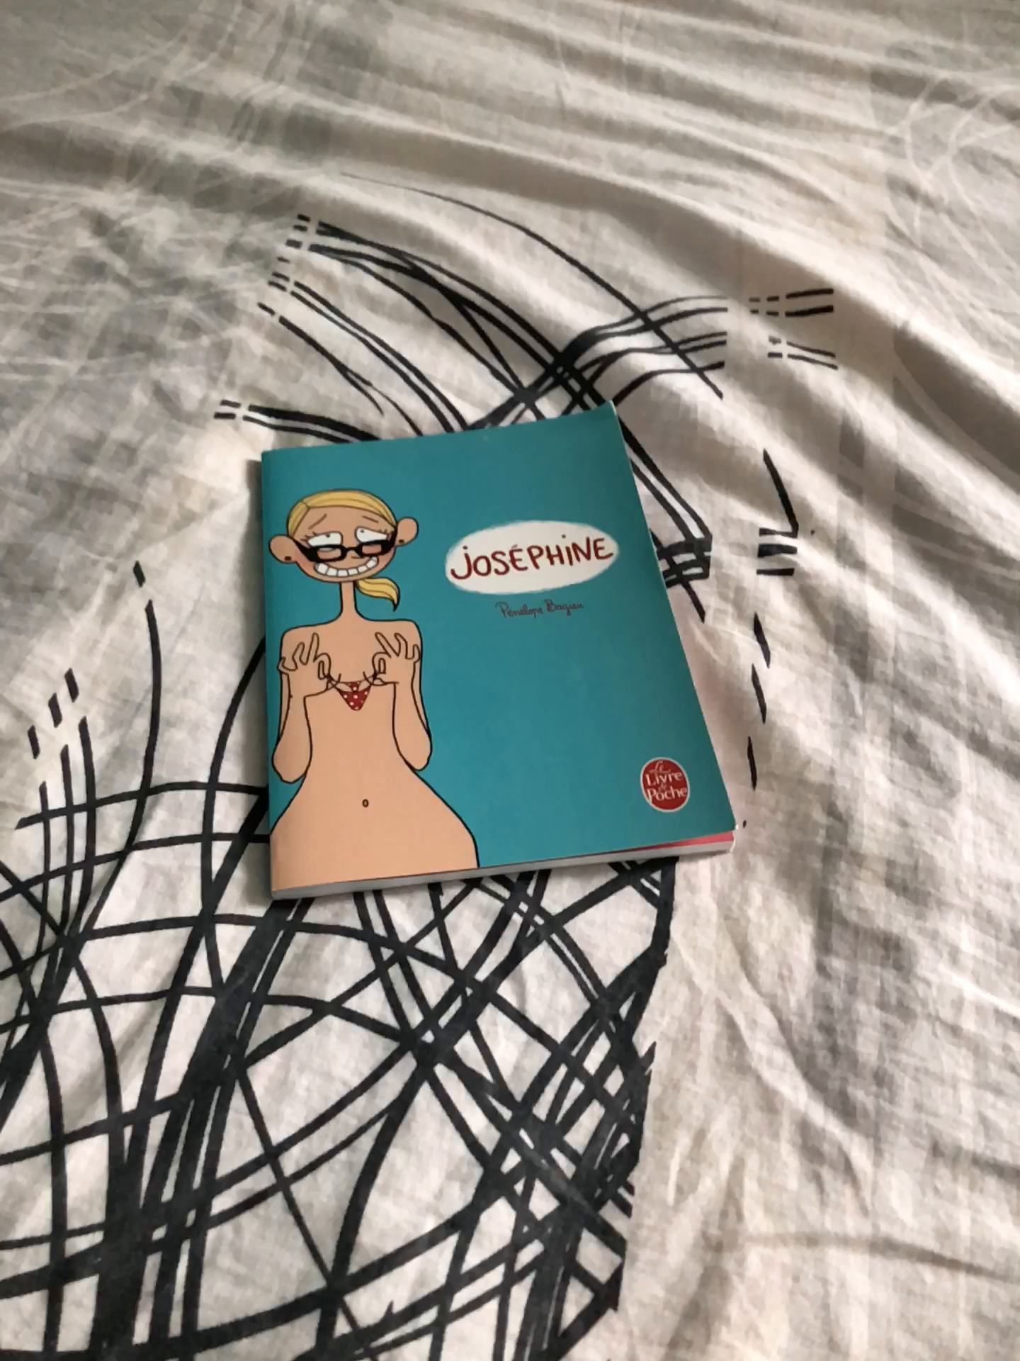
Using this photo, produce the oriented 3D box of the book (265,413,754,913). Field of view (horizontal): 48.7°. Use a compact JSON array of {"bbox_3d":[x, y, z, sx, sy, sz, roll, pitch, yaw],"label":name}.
[{"bbox_3d":[-0.011,-0.018,0.393,0.144,0.014,0.188,-7,53,-3],"label":"book"}]
